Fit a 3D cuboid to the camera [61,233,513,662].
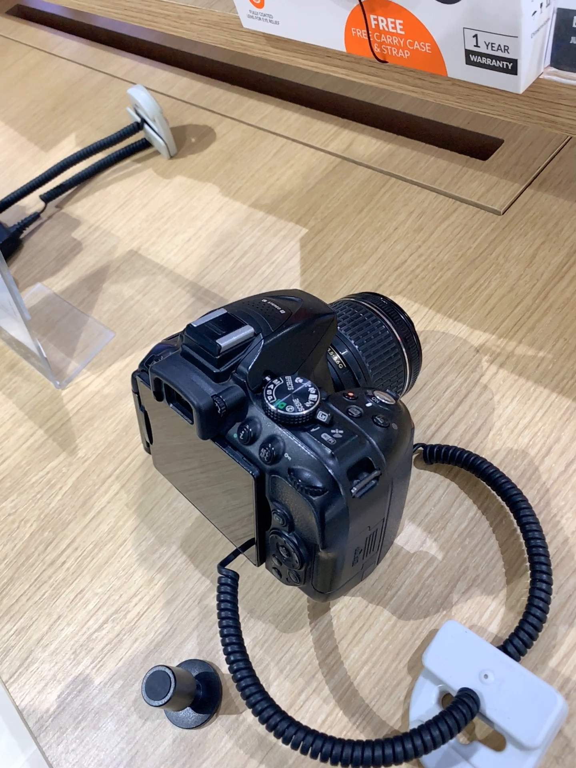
[{"bbox_3d":[-0.003,0.012,0.249,0.110,0.080,0.130,-32,49,-32],"label":"camera"}]
